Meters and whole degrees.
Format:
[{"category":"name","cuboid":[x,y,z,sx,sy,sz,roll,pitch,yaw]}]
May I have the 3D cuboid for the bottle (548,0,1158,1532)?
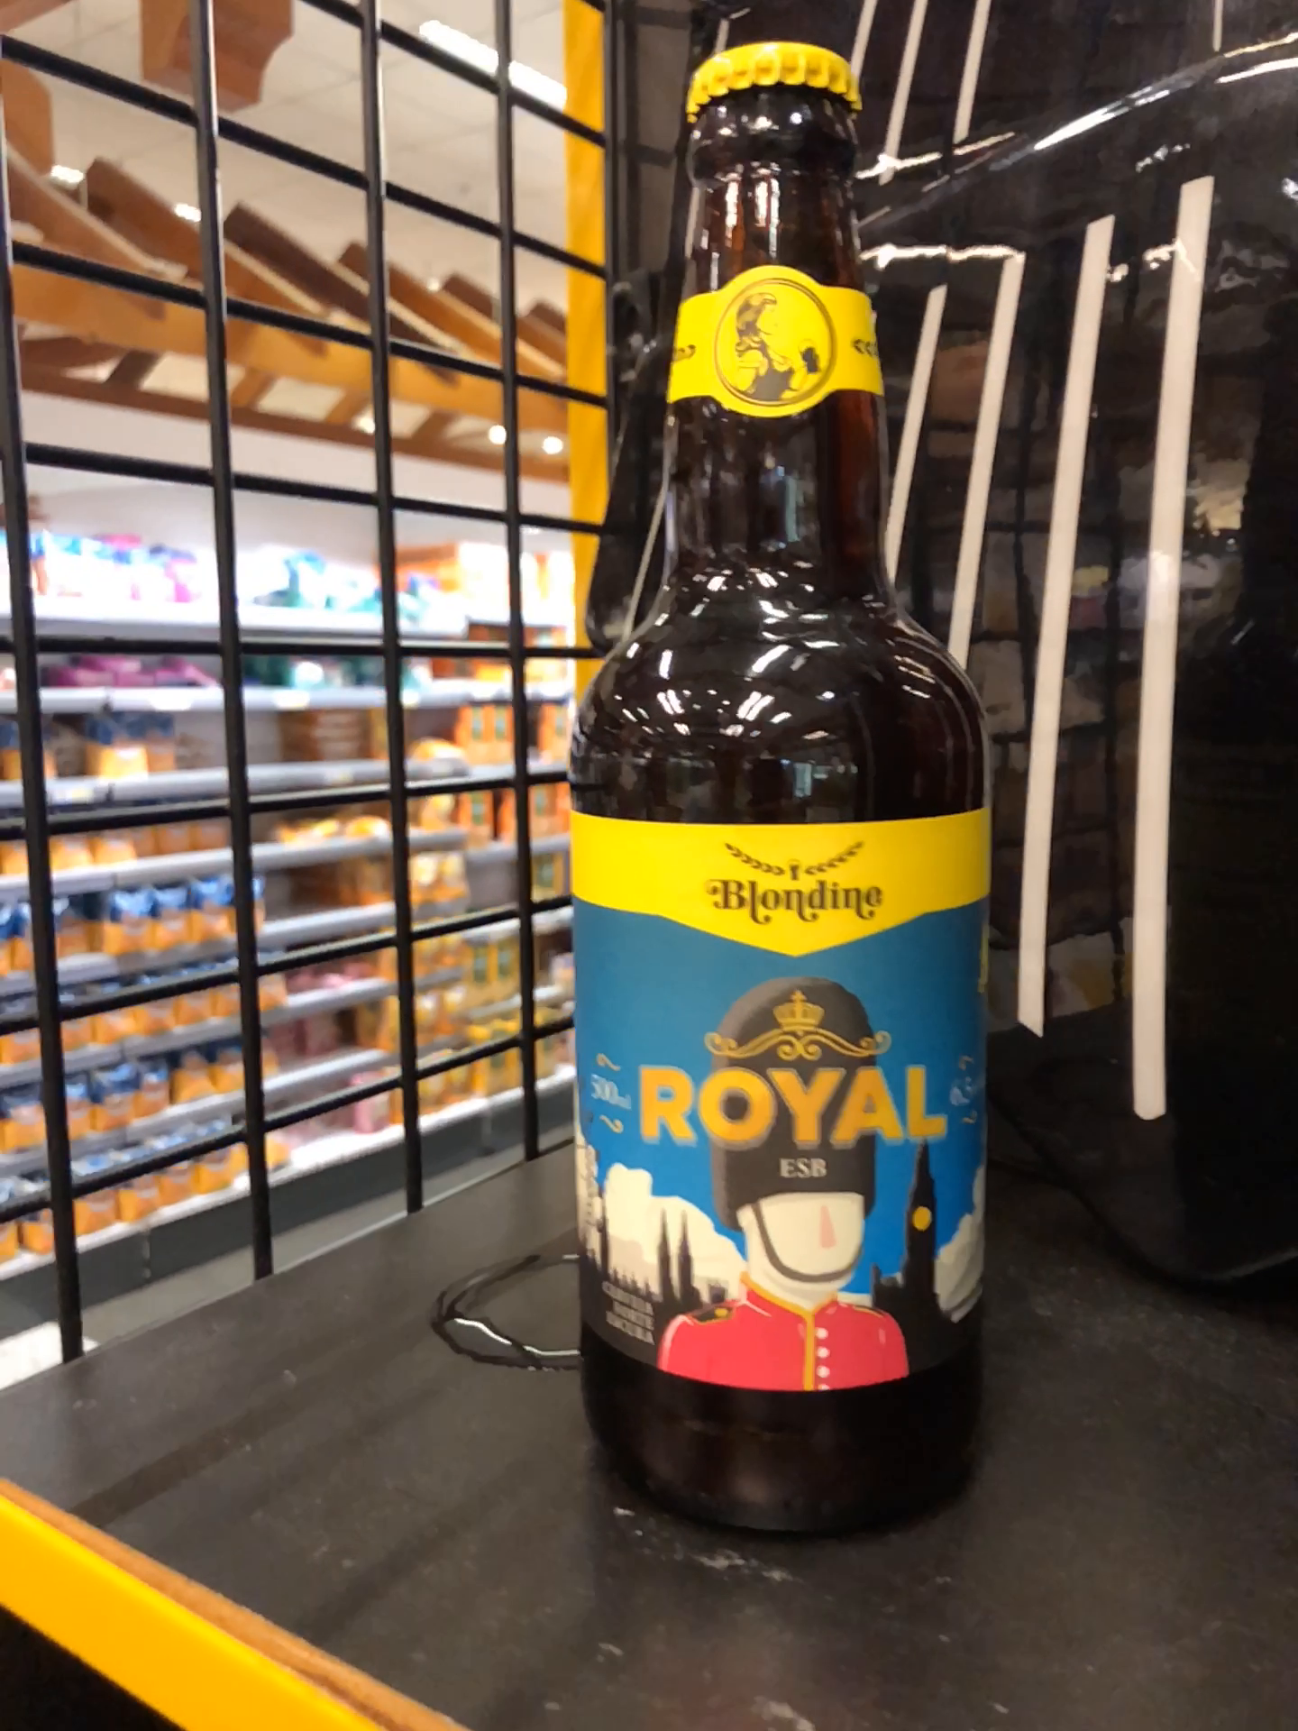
[{"category":"bottle","cuboid":[0.027,-0.024,0.238,0.080,0.239,0.070,0,7,0]}]
